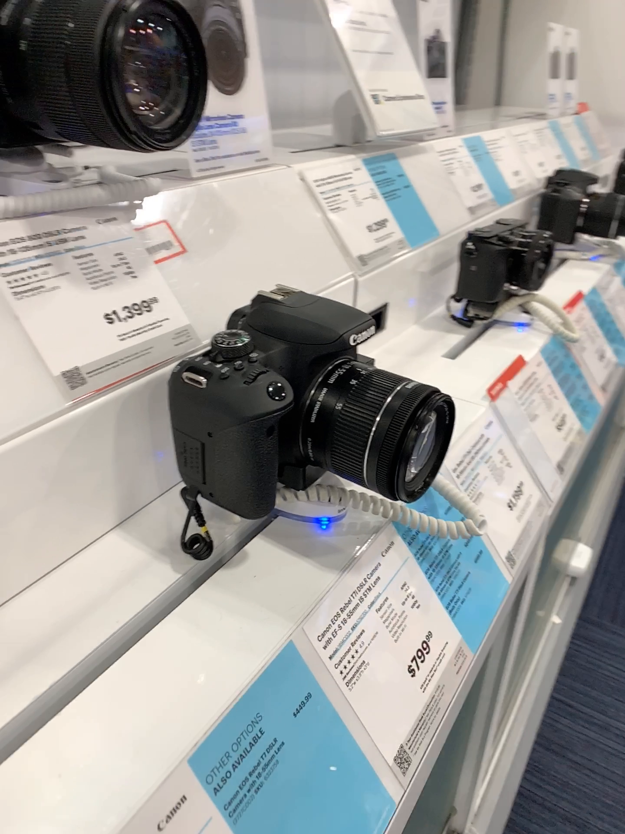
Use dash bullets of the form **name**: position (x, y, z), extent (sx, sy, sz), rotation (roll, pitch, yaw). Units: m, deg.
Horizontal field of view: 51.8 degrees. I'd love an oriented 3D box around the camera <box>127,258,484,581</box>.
- **camera**: position (0.001, -0.013, 0.357), extent (0.130, 0.099, 0.141), rotation (18, 32, 27)
